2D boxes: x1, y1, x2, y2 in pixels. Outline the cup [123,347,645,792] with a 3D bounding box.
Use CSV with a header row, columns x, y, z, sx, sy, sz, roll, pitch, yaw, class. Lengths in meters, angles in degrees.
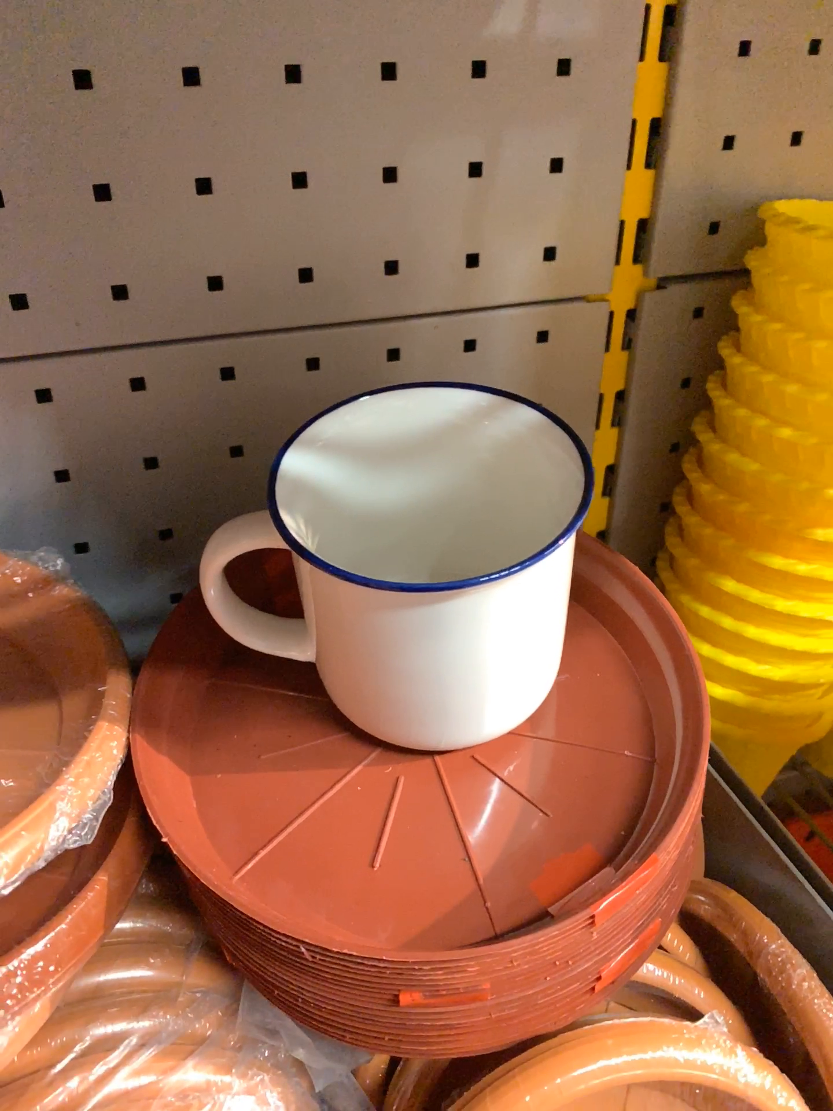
x,y,z,sx,sy,sz,roll,pitch,yaw,class
-0.011,0.003,0.261,0.120,0.090,0.090,-4,45,-5,cup
